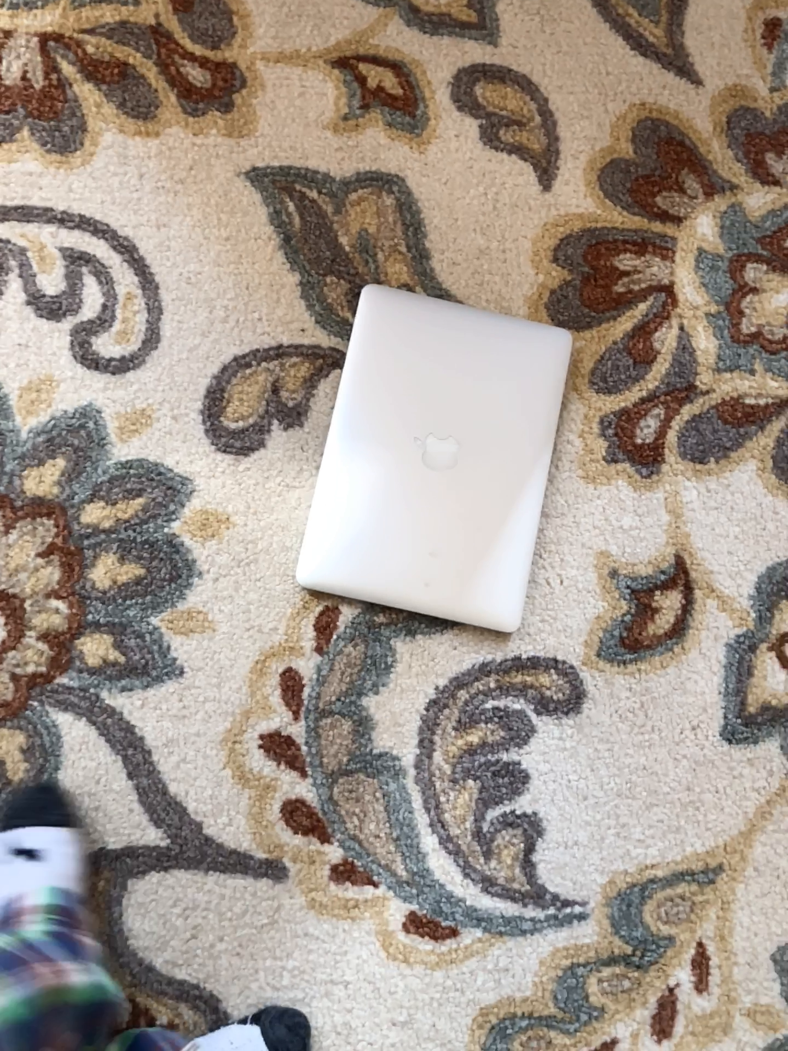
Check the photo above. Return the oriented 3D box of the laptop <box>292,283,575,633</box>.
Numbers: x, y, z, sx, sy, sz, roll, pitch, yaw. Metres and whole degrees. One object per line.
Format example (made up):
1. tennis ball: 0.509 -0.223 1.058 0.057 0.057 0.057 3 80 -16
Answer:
1. laptop: 0.041 -0.066 0.806 0.207 0.001 0.295 13 80 -3
